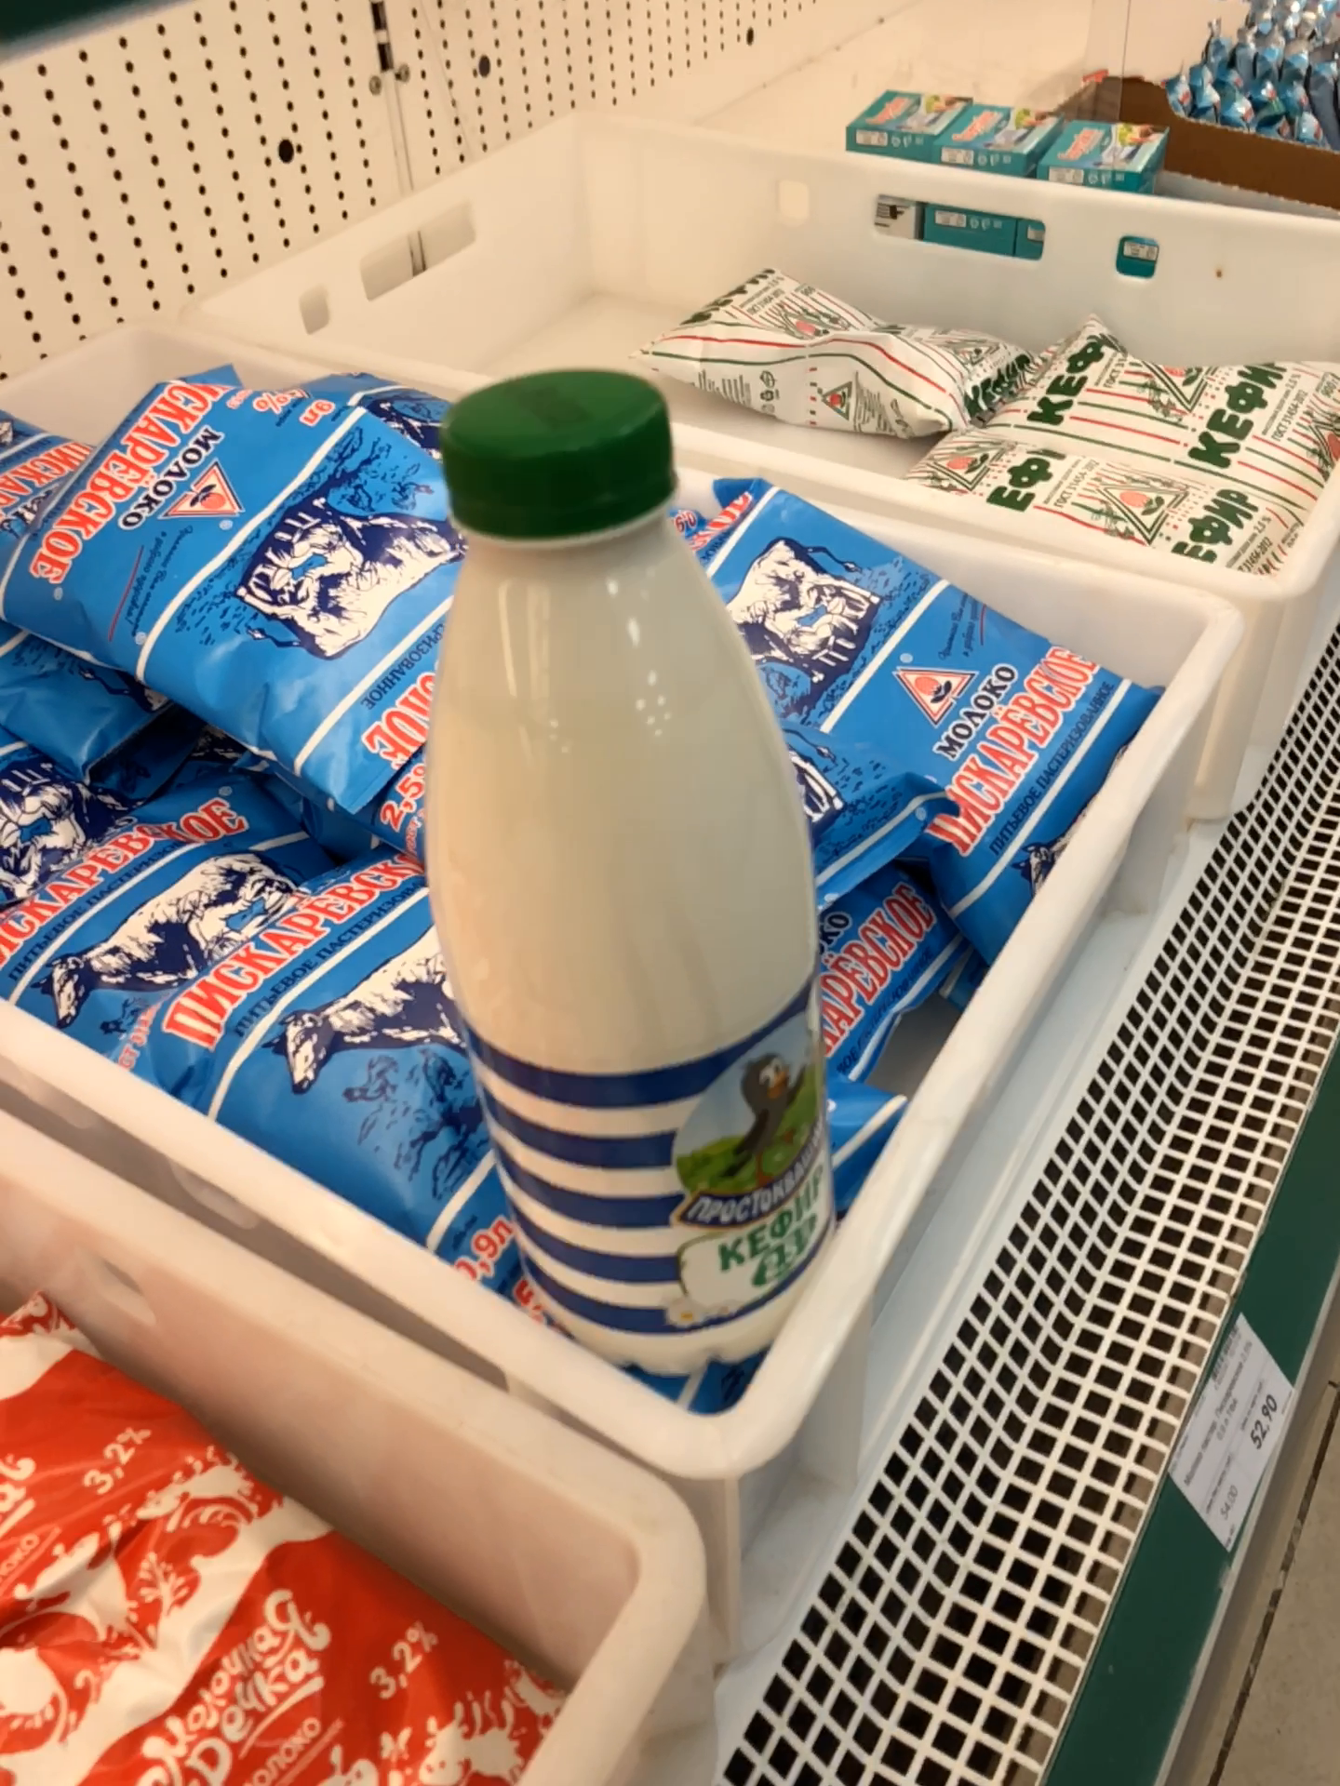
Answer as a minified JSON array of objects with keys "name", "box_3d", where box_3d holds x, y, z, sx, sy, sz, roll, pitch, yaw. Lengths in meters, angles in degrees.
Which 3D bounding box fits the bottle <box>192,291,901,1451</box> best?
[{"name":"bottle","box_3d":[-0.009,0.006,0.310,0.080,0.223,0.084,-5,40,4]}]
